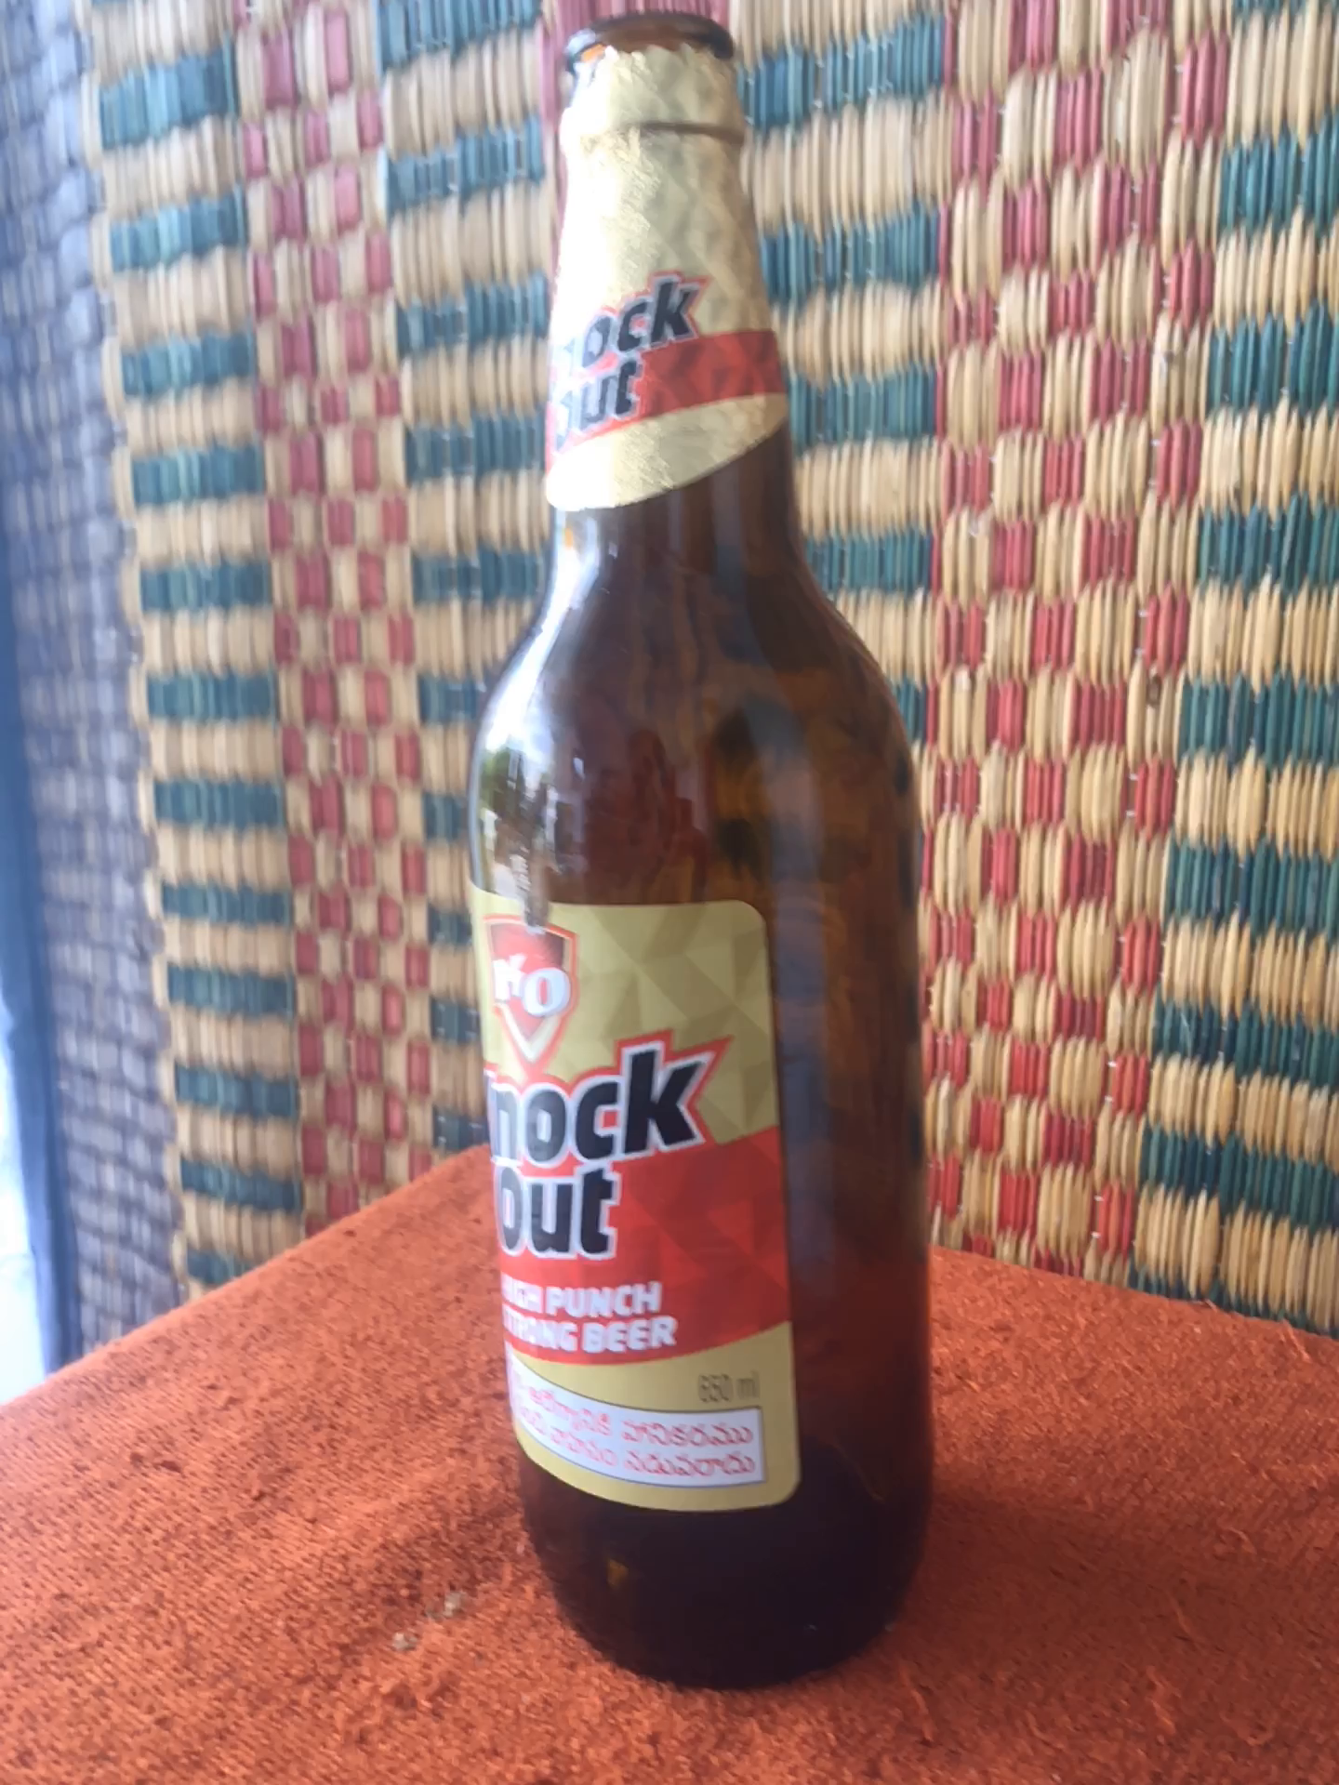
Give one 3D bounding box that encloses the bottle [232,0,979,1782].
[{"bbox_3d":[-0.001,-0.003,0.235,0.070,0.249,0.070,-4,14,1],"label":"bottle"}]
